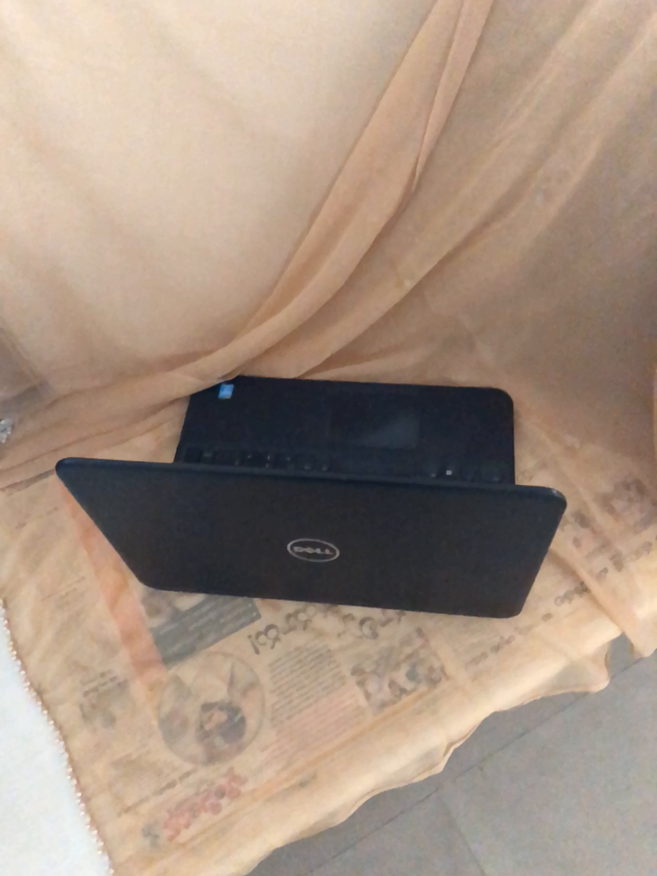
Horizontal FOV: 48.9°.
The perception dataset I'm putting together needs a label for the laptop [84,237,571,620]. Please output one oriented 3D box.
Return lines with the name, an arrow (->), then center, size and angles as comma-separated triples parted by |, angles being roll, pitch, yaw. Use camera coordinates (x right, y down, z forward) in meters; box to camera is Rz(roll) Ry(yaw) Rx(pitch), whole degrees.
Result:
laptop -> 0.010, -0.007, 0.661 | 0.332, 0.238, 0.257 | 3, 58, 7
